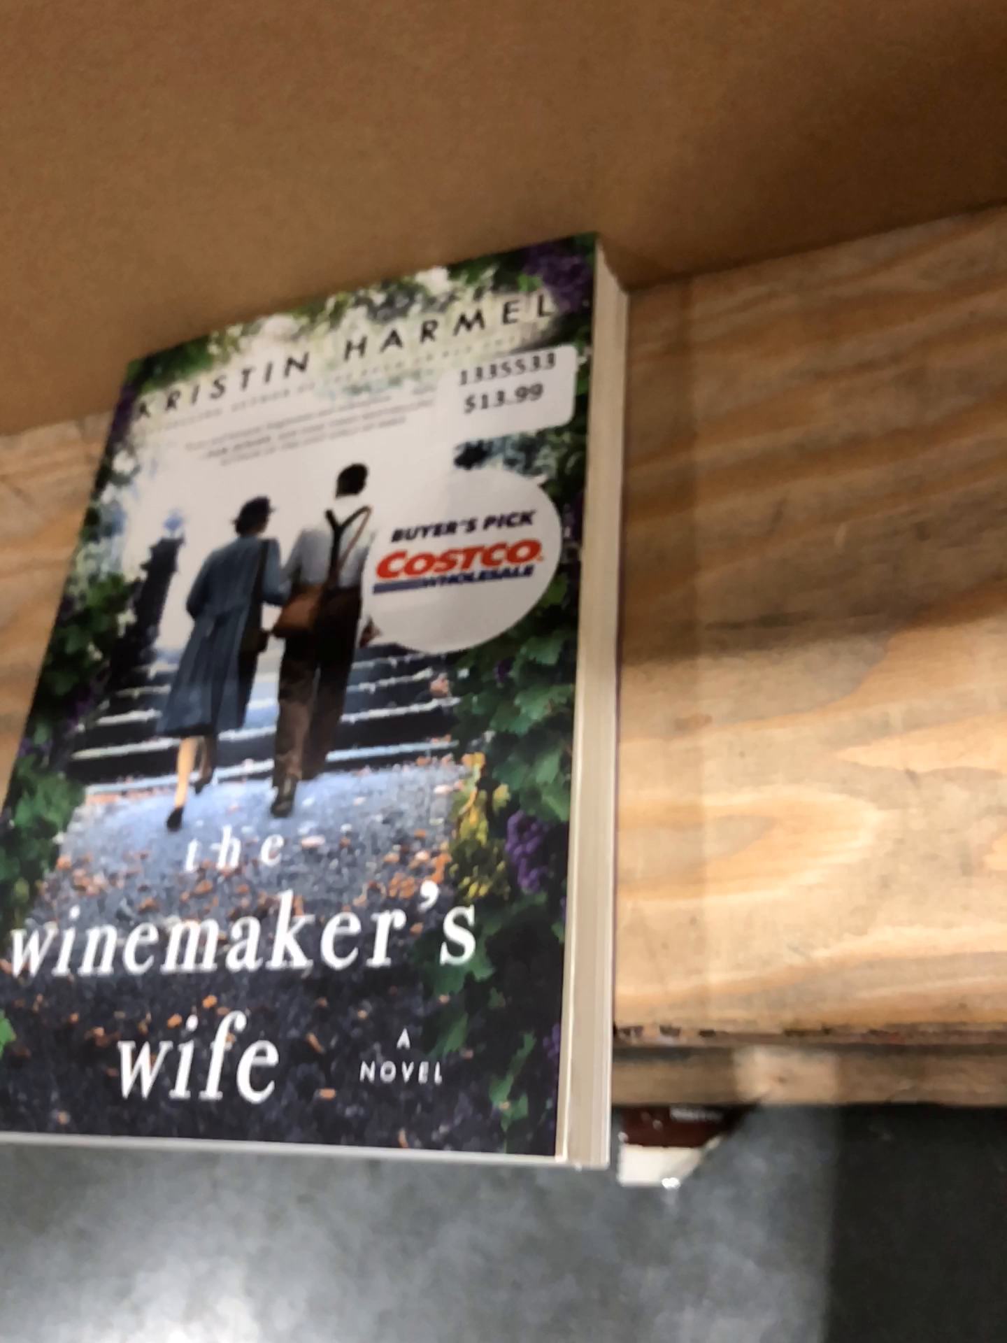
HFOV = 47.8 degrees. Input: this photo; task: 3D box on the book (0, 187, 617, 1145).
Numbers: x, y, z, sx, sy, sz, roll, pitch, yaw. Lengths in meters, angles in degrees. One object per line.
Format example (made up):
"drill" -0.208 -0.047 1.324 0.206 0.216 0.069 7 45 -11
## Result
"book" -0.053 -0.009 0.282 0.155 0.035 0.229 -9 56 22
